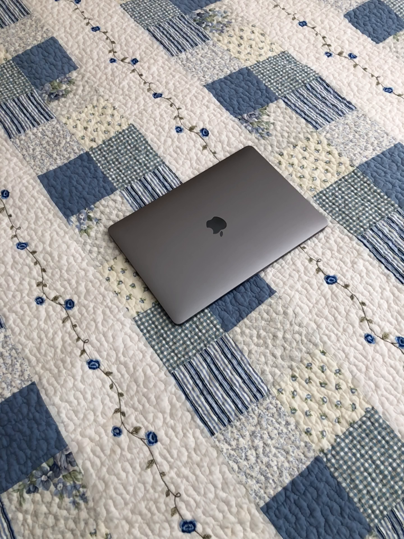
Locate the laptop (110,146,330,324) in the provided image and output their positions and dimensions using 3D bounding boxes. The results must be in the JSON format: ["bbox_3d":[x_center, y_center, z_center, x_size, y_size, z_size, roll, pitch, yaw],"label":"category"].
[{"bbox_3d":[0.027,-0.070,0.716,0.290,0.005,0.202,-33,66,-14],"label":"laptop"}]
